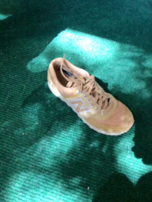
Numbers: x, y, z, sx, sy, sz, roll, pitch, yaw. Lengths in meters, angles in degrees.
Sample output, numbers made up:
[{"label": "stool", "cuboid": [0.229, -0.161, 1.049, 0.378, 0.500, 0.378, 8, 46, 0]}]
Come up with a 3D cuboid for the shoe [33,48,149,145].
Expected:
[{"label": "shoe", "cuboid": [0.031, -0.015, 0.431, 0.260, 0.100, 0.110, 32, 64, 13]}]
